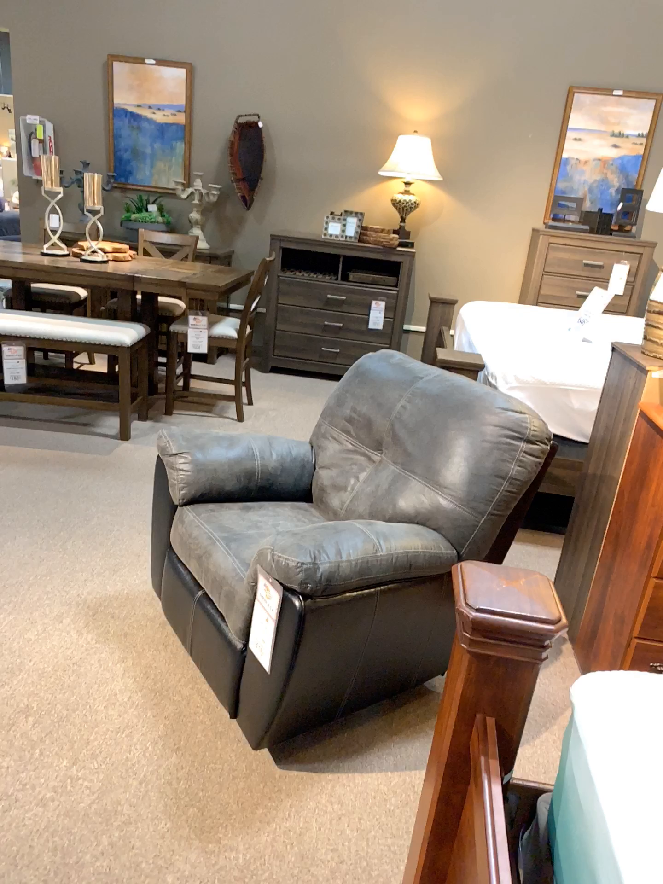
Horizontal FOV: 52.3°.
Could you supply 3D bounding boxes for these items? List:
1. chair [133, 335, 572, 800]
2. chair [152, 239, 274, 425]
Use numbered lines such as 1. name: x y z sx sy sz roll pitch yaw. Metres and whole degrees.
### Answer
1. chair: -0.032 0.237 2.147 0.905 0.923 0.991 -7 24 -32
2. chair: -0.728 -0.689 4.195 0.624 1.003 0.490 6 20 0
